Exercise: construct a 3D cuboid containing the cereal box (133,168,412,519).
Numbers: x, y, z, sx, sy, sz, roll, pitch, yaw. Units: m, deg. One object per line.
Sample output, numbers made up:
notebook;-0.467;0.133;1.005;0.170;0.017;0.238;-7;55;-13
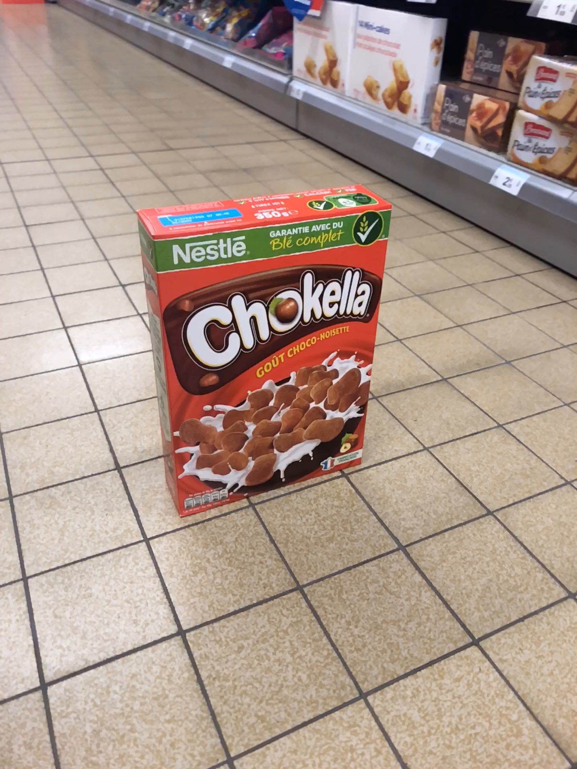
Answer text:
cereal box;-0.014;-0.030;0.549;0.201;0.278;0.060;-12;36;-21
